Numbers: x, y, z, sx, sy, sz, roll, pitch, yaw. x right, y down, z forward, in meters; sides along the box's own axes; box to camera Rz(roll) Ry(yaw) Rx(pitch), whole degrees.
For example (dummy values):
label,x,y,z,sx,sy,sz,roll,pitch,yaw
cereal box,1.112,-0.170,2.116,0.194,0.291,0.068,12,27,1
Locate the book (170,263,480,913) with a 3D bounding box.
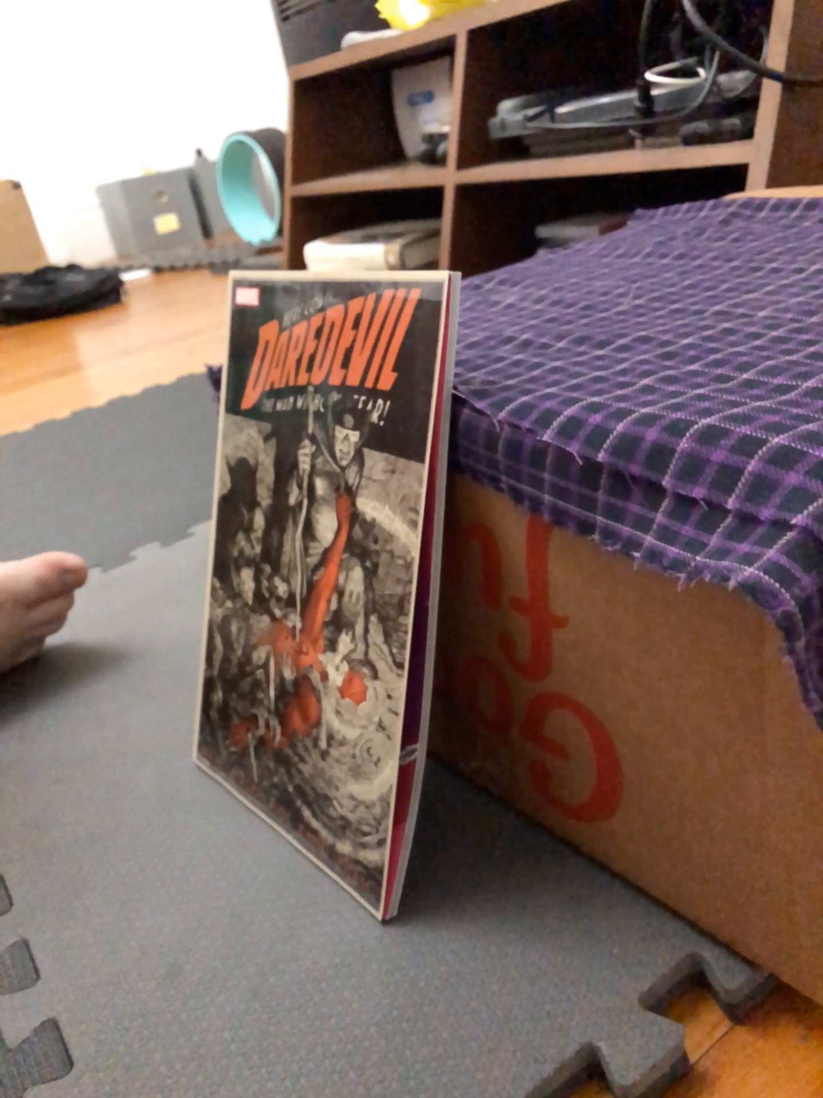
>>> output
label,x,y,z,sx,sy,sz,roll,pitch,yaw
book,-0.048,0.003,0.378,0.020,0.229,0.160,-4,15,-40
